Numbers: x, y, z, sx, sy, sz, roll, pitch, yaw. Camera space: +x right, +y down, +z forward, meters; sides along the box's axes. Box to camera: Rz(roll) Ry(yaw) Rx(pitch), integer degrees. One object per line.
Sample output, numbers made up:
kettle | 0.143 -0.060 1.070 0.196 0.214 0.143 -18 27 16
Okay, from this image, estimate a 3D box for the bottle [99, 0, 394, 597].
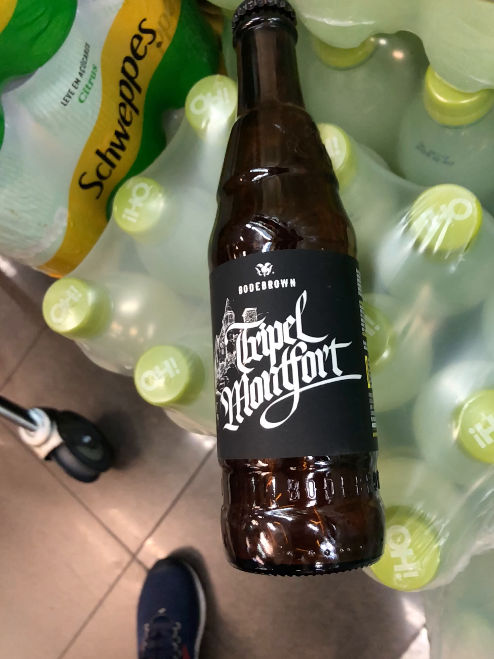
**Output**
bottle | 0.000 -0.044 0.208 0.070 0.070 0.250 -9 79 15
